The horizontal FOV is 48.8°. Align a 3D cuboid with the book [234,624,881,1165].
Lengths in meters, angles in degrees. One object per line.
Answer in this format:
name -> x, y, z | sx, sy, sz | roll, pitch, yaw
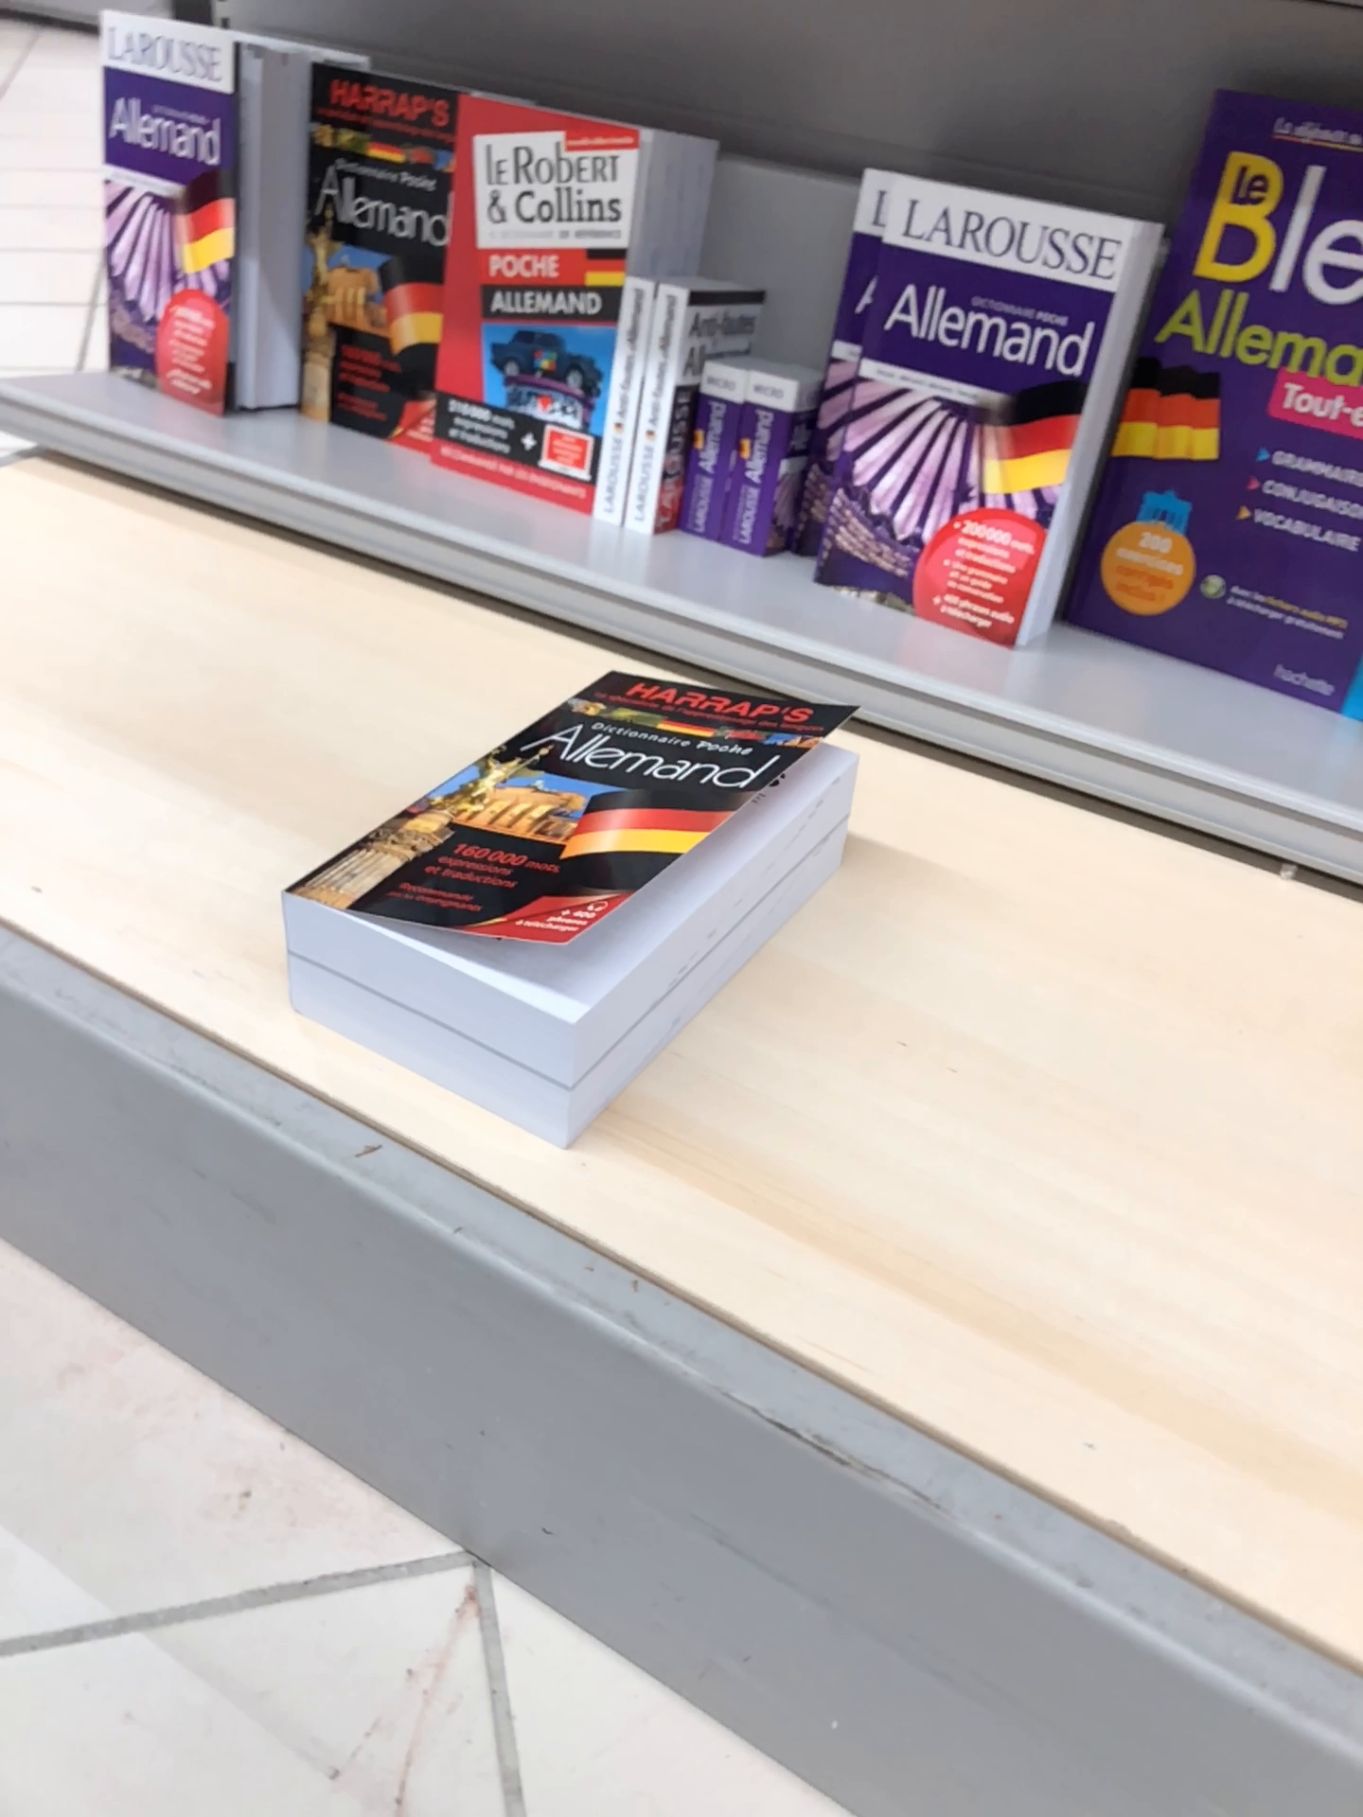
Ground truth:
book -> -0.032, -0.017, 0.490 | 0.122, 0.060, 0.181 | 22, 39, 22
